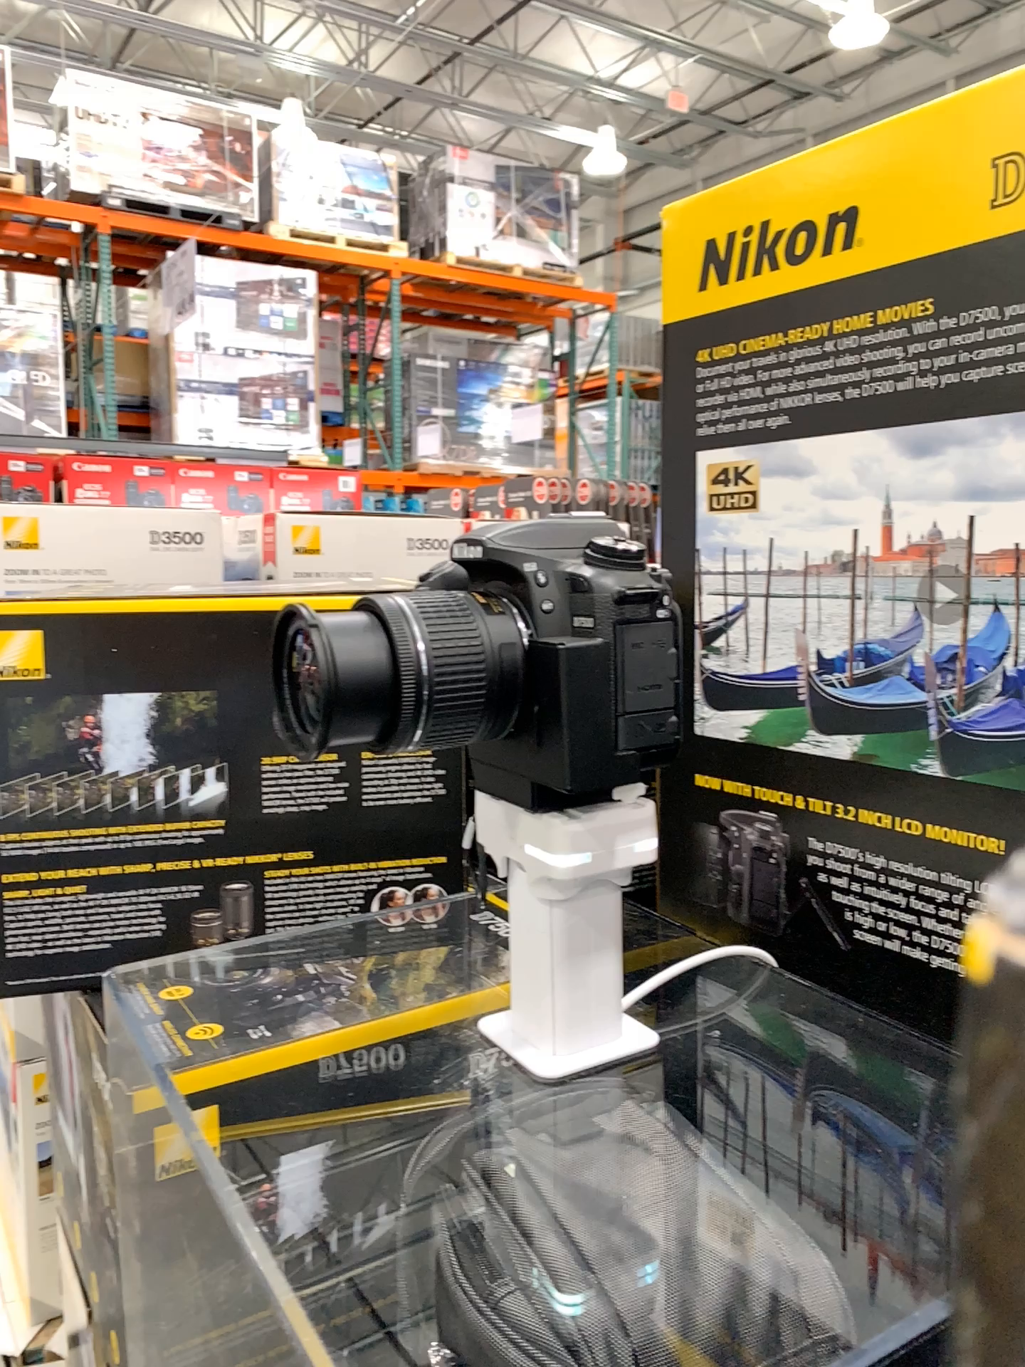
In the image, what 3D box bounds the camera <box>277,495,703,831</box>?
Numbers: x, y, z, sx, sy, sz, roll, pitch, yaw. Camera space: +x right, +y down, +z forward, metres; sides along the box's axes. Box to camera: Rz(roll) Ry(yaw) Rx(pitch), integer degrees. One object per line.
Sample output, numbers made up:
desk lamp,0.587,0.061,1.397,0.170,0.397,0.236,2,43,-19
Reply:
camera,-0.017,-0.017,0.439,0.110,0.110,0.160,-4,8,-31
